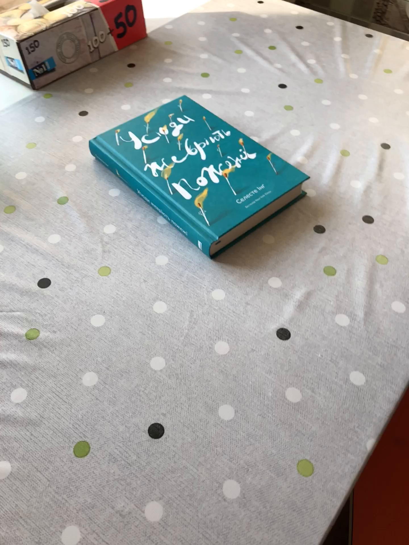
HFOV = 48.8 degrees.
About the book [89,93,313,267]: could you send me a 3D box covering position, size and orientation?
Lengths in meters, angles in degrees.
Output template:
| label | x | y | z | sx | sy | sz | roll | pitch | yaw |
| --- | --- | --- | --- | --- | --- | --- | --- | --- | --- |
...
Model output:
| label | x | y | z | sx | sy | sz | roll | pitch | yaw |
| --- | --- | --- | --- | --- | --- | --- | --- | --- | --- |
| book | -0.009 | -0.118 | 0.517 | 0.144 | 0.040 | 0.214 | -35 | 60 | -25 |
